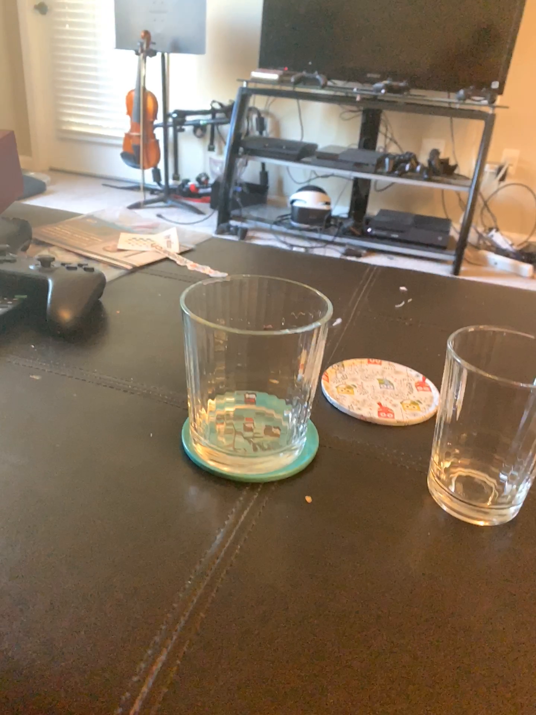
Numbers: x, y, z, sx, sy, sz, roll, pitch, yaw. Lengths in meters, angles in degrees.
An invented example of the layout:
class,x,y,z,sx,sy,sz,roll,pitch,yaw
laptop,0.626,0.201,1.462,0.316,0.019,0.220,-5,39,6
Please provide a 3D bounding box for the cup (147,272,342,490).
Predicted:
class,x,y,z,sx,sy,sz,roll,pitch,yaw
cup,-0.017,0.008,0.341,0.080,0.089,0.080,4,27,-2

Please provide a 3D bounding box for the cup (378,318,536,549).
class,x,y,z,sx,sy,sz,roll,pitch,yaw
cup,0.113,0.037,0.304,0.070,0.089,0.060,-20,36,-40
